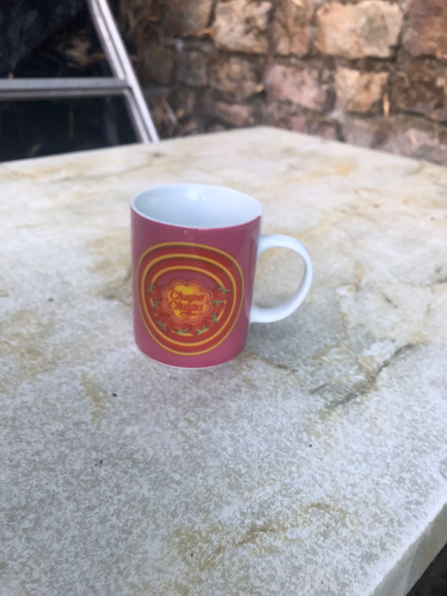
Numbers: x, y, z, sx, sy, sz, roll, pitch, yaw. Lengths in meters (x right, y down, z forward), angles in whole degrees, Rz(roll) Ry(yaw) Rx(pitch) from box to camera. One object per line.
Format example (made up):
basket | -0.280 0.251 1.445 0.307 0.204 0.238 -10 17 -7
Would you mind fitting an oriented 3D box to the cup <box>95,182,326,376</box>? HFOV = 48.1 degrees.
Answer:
cup | -0.007 -0.014 0.306 0.116 0.089 0.077 2 29 -1
